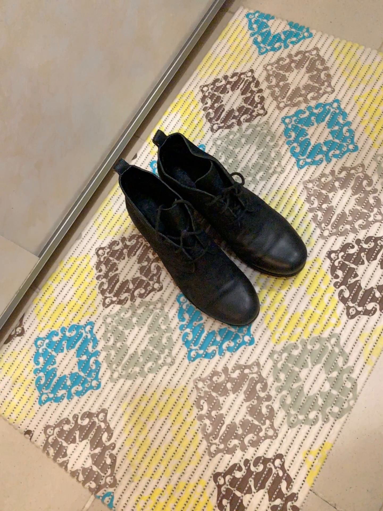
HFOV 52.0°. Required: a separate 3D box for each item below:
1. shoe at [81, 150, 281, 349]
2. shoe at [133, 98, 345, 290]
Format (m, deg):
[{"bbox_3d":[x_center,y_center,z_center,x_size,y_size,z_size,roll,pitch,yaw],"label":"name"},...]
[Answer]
[{"bbox_3d":[-0.008,-0.001,0.507,0.090,0.150,0.230,-45,71,-6],"label":"shoe"},{"bbox_3d":[0.058,-0.073,0.515,0.230,0.150,0.090,36,82,18],"label":"shoe"}]
